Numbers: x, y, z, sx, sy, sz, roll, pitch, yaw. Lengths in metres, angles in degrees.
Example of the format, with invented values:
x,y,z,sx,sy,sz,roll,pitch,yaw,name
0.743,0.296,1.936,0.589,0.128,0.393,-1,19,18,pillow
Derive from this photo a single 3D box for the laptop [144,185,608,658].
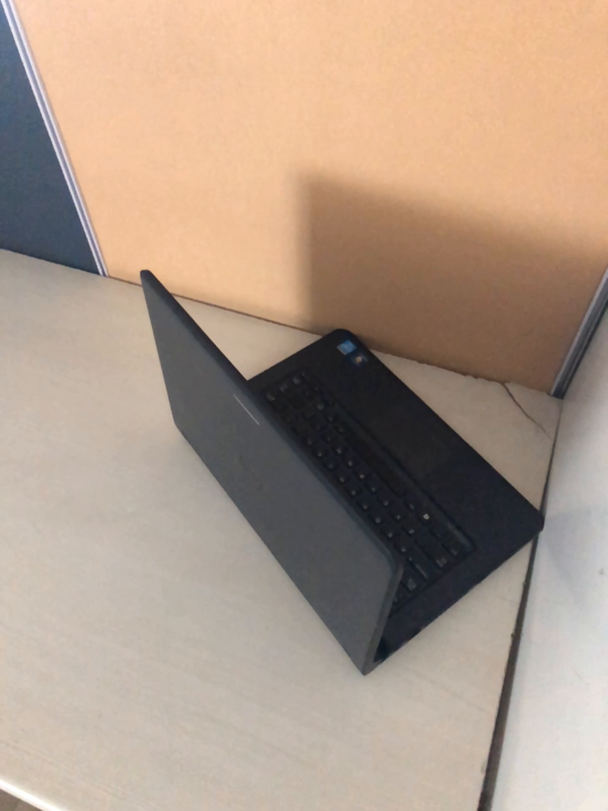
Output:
x,y,z,sx,sy,sz,roll,pitch,yaw,name
0.049,0.006,0.600,0.214,0.211,0.305,-31,59,-19,laptop
